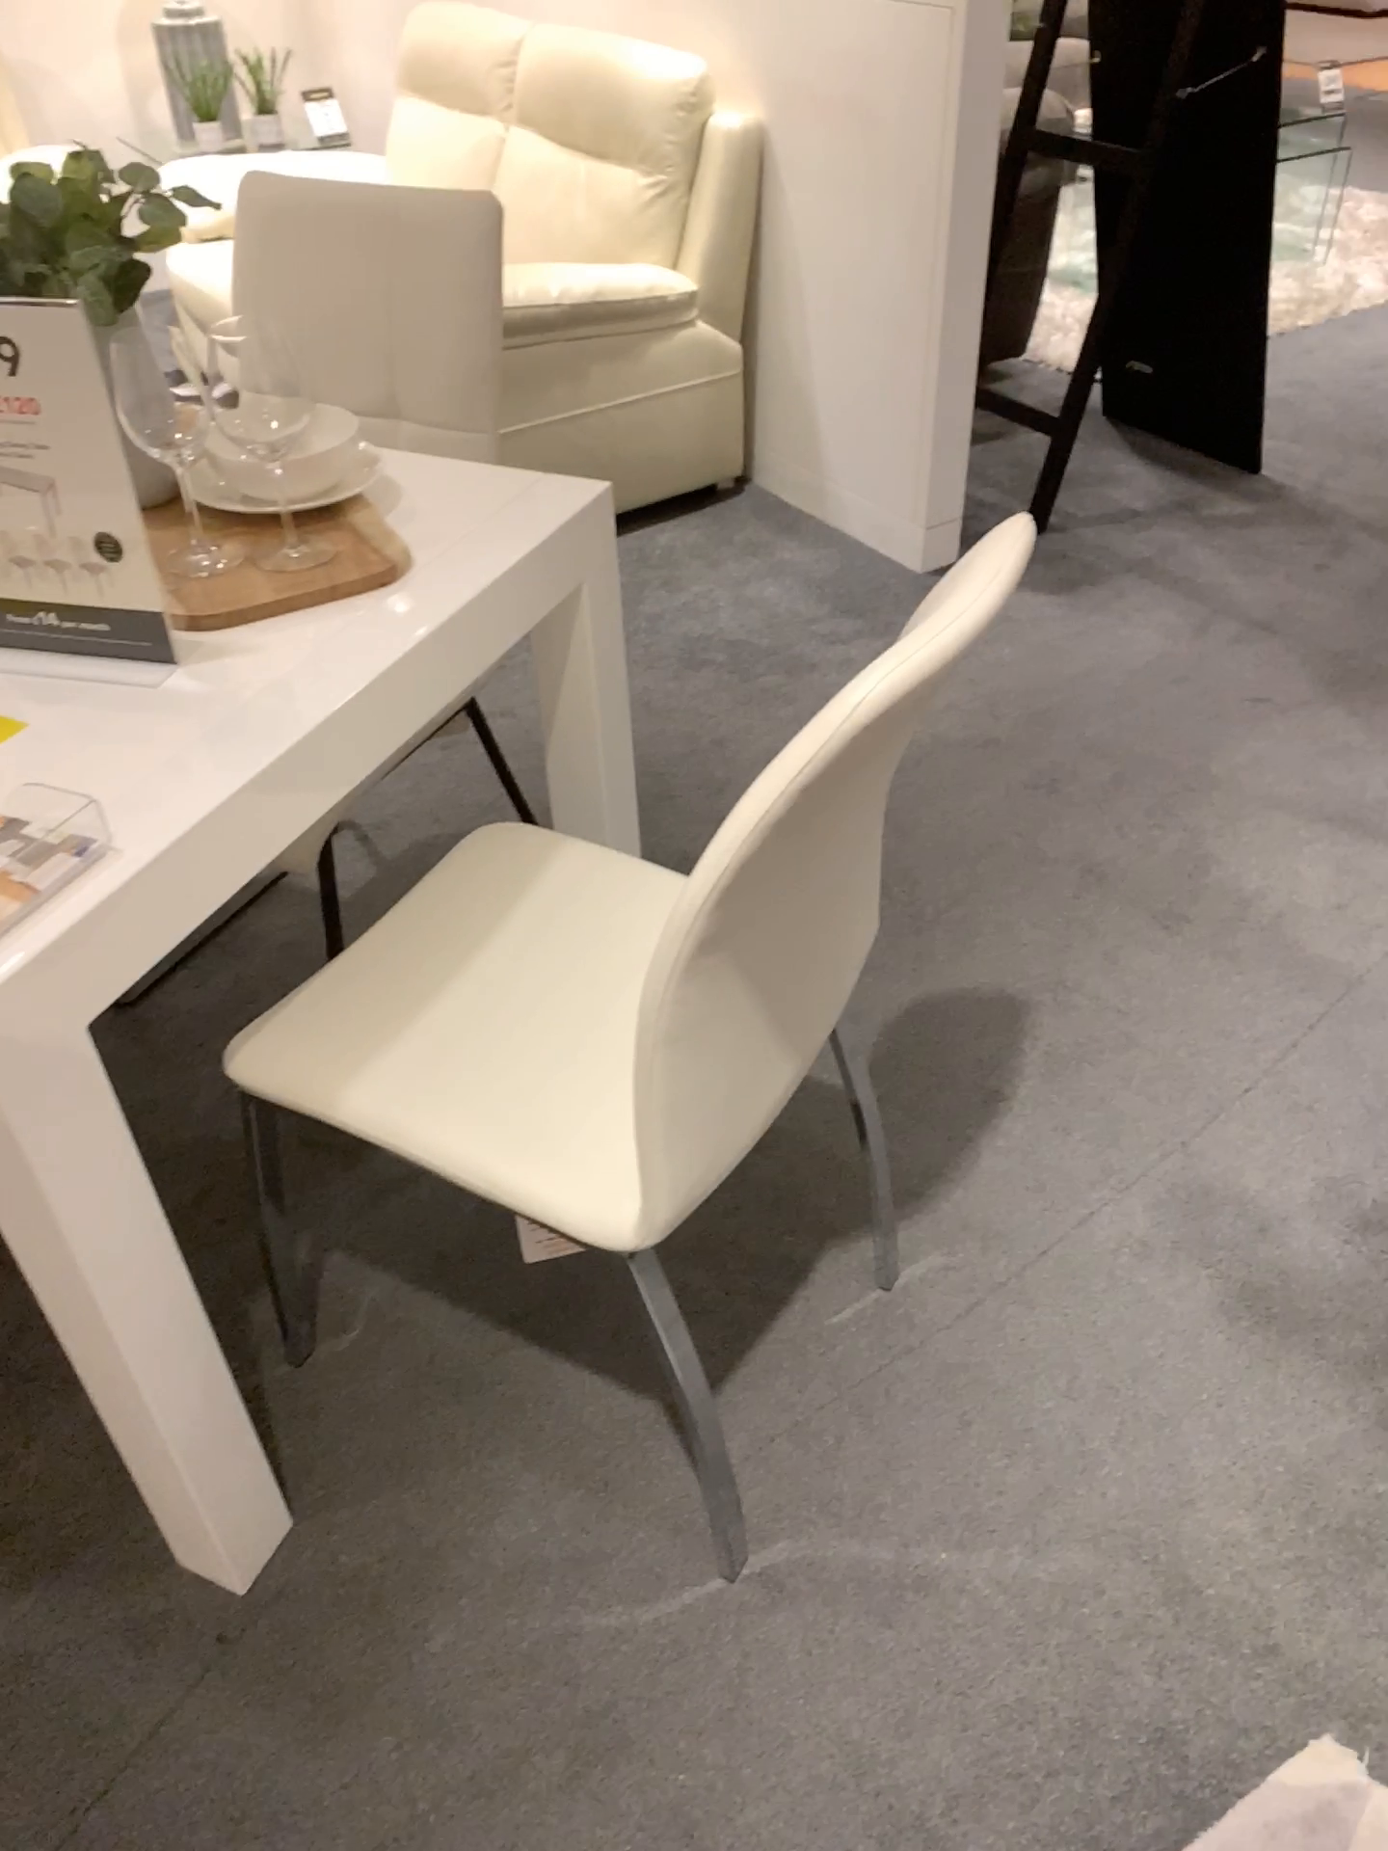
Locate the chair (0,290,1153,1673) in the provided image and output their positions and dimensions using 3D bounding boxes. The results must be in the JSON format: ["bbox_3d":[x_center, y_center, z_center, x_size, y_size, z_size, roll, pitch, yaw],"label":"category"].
[{"bbox_3d":[-0.073,0.052,1.237,0.646,0.954,0.482,19,43,24],"label":"chair"}]
